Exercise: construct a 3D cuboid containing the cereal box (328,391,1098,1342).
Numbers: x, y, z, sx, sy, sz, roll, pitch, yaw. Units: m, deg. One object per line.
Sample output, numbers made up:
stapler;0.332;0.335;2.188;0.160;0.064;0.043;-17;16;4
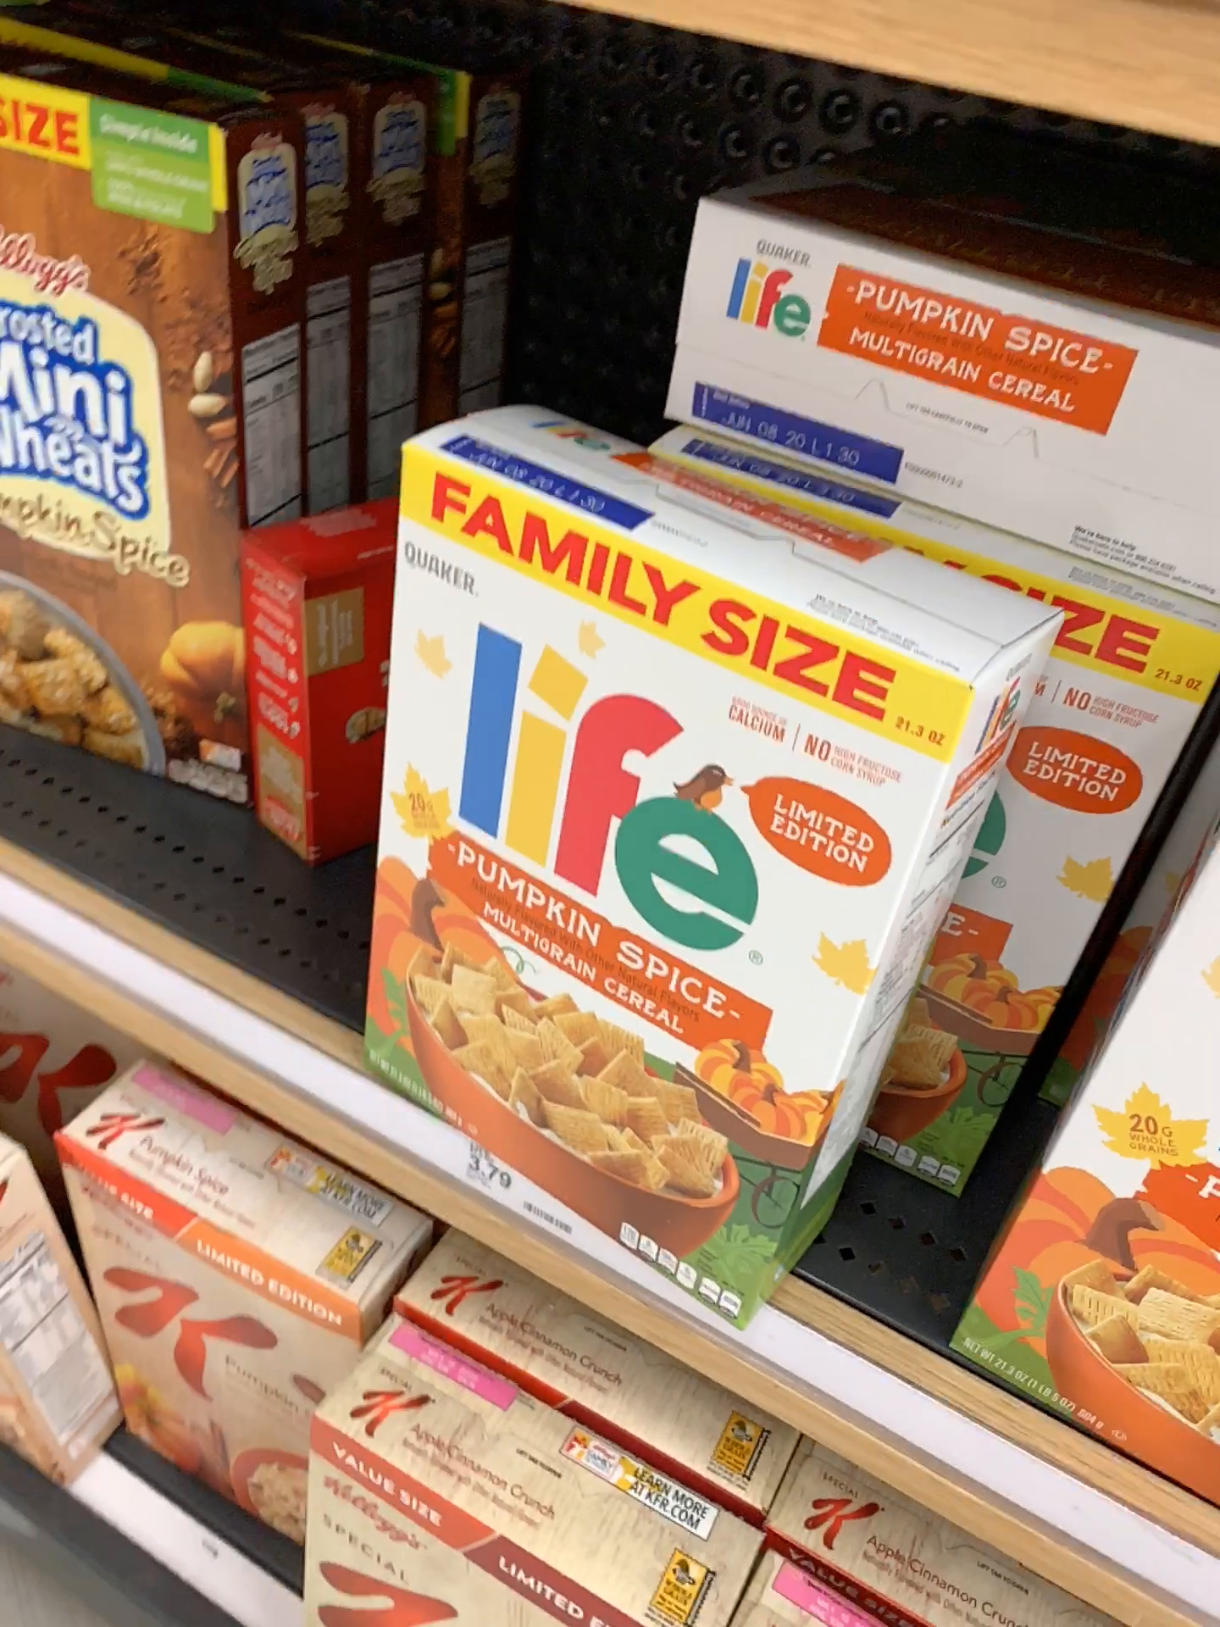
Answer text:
cereal box;0.009;0.019;0.422;0.200;0.249;0.070;29;37;24
